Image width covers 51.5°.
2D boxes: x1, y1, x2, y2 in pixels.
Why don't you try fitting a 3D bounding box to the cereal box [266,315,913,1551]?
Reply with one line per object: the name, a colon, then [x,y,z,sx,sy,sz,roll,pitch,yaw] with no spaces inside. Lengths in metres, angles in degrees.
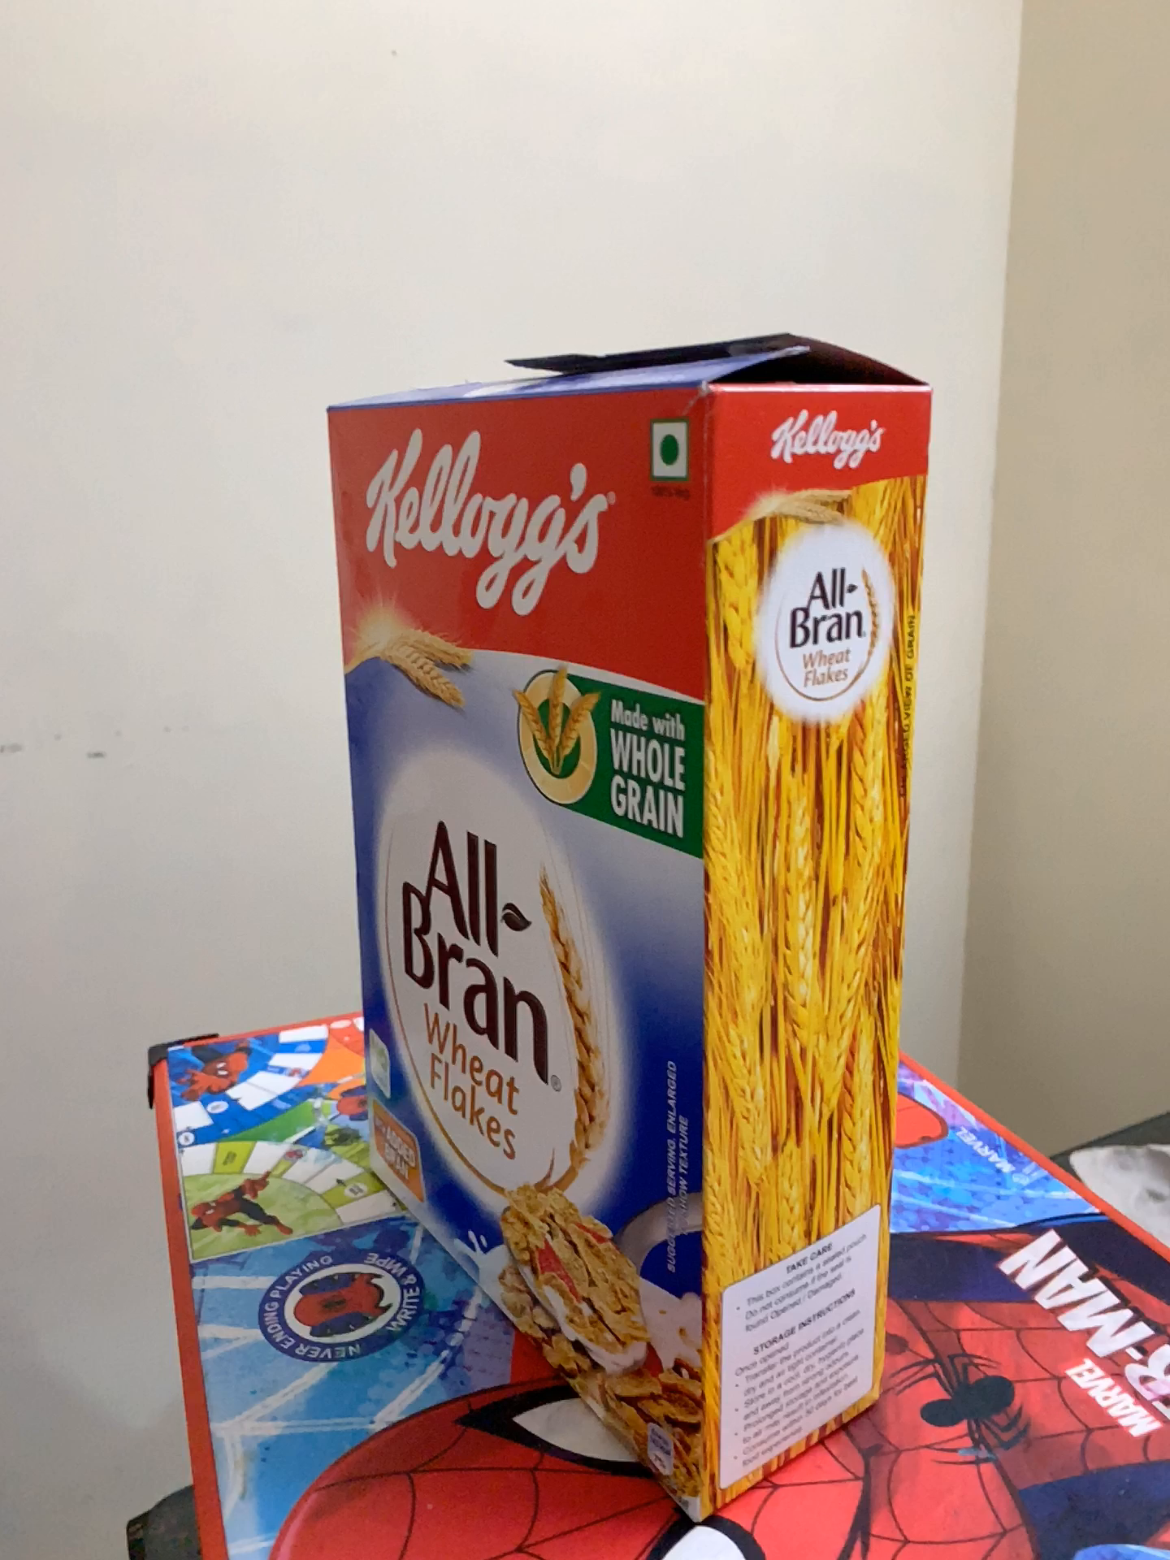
cereal box: [-0.013,0.020,0.322,0.060,0.249,0.191,-10,17,-32]
